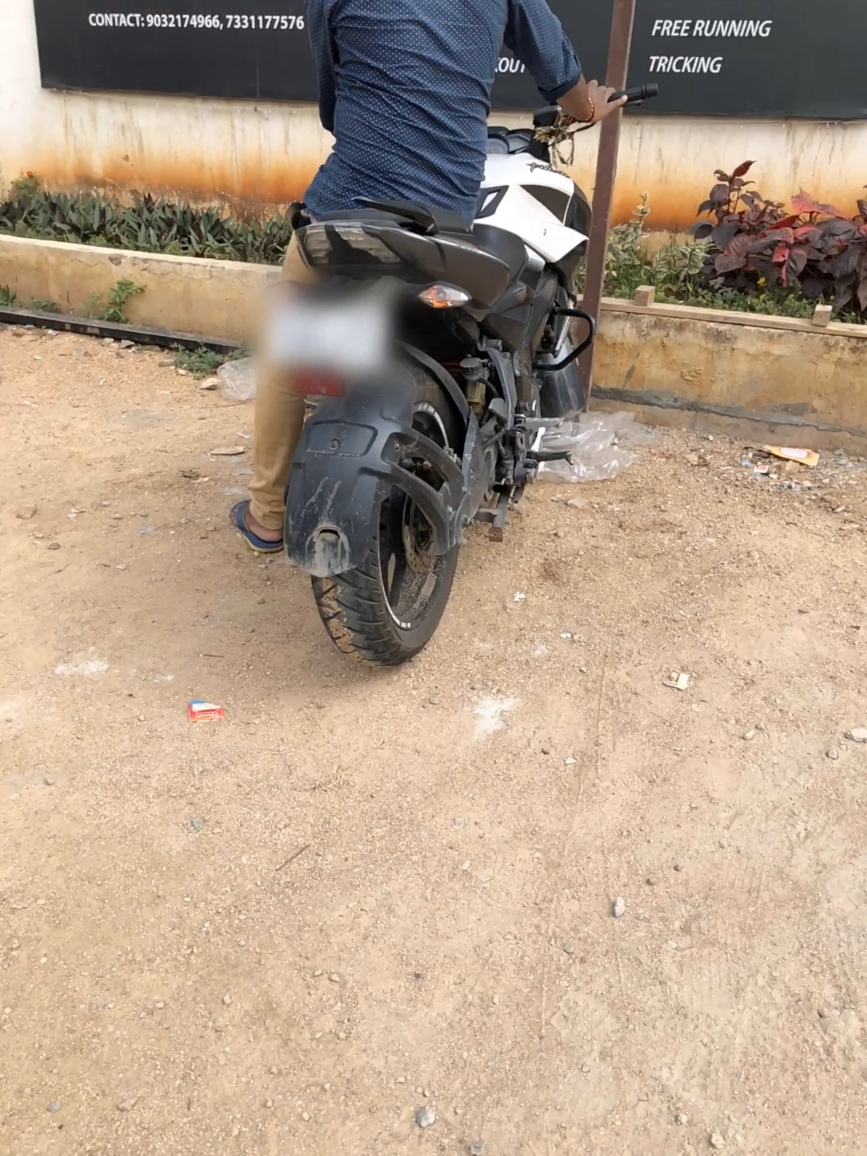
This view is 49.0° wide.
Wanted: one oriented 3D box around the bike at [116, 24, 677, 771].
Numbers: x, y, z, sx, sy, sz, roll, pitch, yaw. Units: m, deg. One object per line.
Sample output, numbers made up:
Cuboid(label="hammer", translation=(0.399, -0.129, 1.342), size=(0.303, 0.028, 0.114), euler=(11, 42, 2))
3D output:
Cuboid(label="bike", translation=(0.081, -0.664, 2.311), size=(0.778, 1.122, 1.861), euler=(7, 28, 9))
